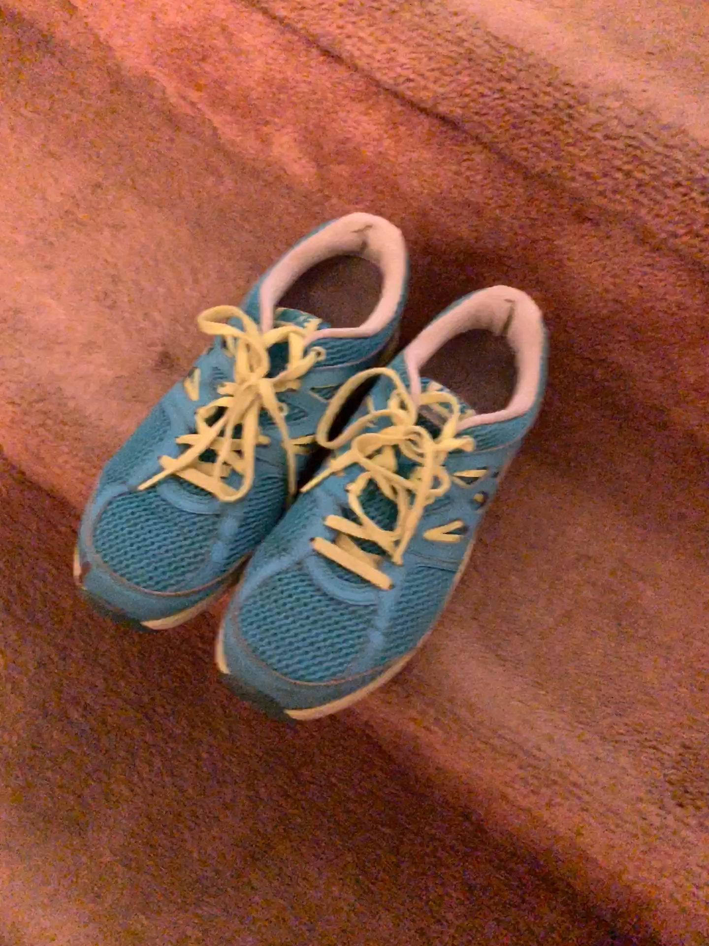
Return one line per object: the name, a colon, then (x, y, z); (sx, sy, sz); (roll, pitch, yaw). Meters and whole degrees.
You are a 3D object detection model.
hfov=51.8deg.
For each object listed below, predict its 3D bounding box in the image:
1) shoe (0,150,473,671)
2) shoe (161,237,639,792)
shoe: (-0.055, -0.050, 0.409); (0.110, 0.099, 0.282); (32, 56, 7)
shoe: (0.034, 0.006, 0.395); (0.110, 0.099, 0.282); (34, 57, 8)
